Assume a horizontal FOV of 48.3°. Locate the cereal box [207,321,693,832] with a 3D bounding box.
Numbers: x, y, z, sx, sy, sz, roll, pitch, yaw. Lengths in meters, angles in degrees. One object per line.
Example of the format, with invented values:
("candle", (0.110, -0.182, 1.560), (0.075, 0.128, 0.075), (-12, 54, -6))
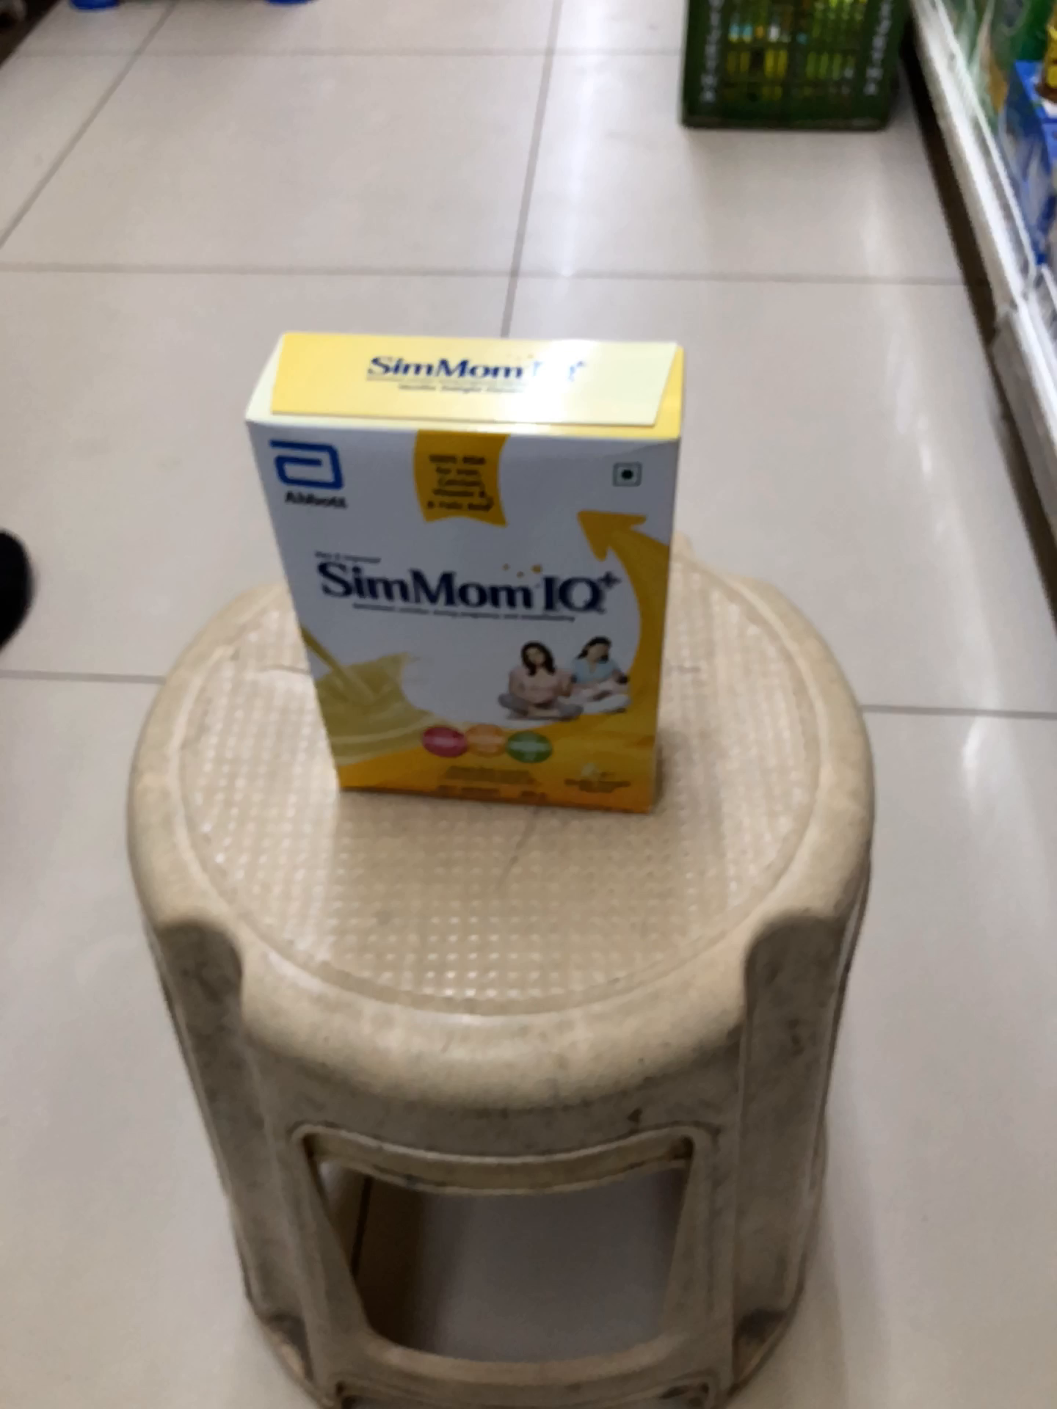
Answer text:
("cereal box", (-0.016, -0.035, 0.429), (0.140, 0.199, 0.050), (3, 50, 7))
